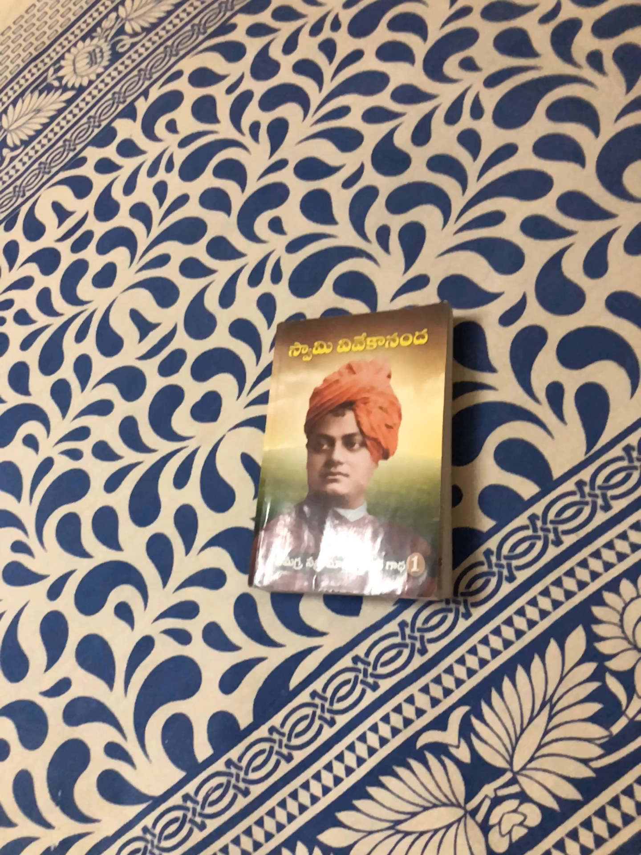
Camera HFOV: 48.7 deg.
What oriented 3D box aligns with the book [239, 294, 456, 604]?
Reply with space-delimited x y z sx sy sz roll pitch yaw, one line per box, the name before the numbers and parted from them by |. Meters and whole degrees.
book | 0.022 0.014 0.507 0.140 0.030 0.210 -2 72 22
